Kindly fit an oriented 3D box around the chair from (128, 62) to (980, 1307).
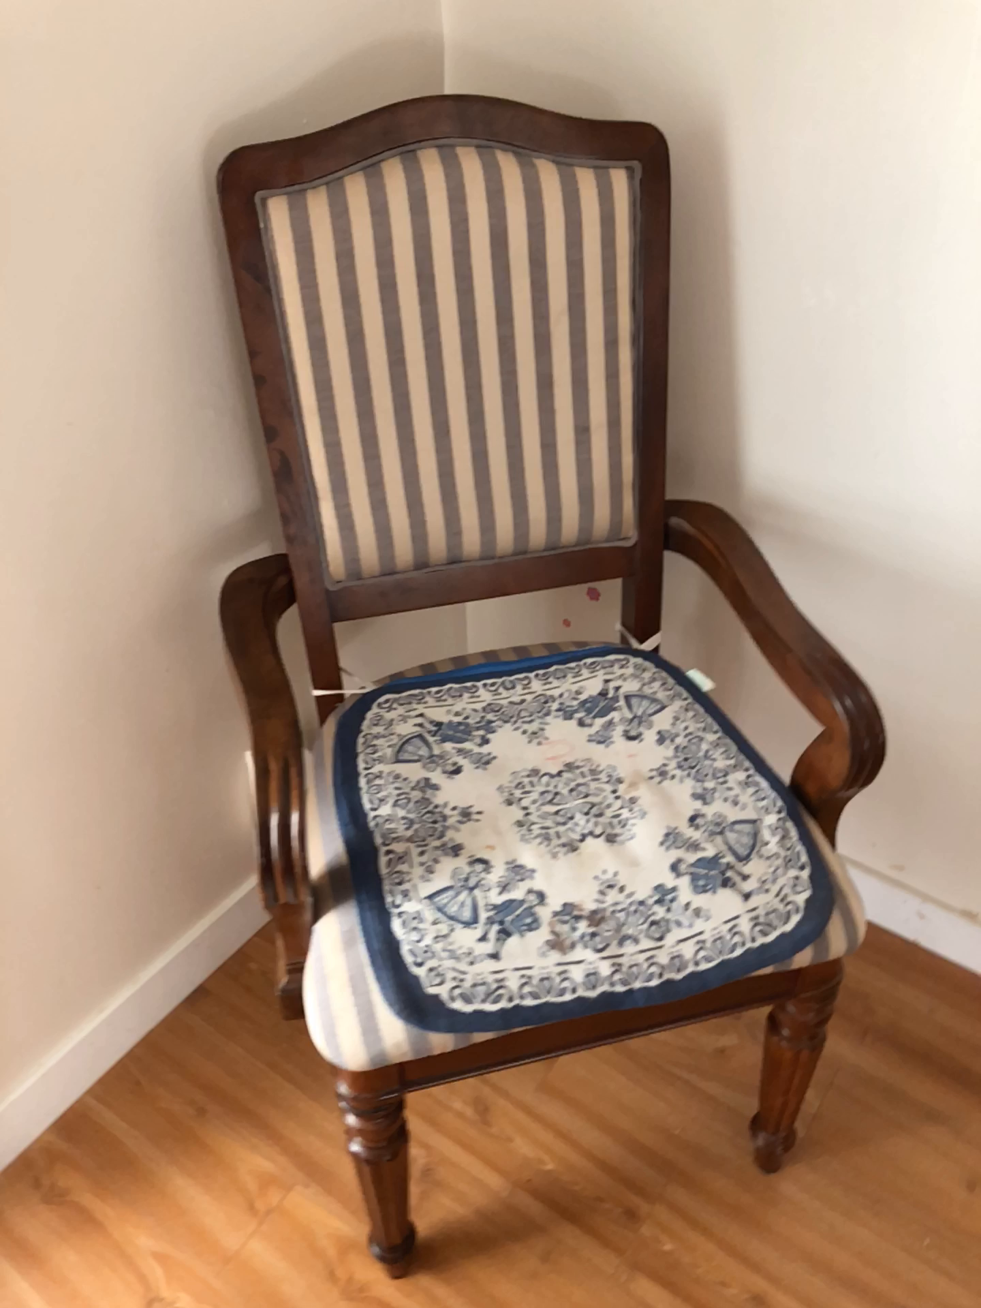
[{"bbox_3d":[0.040,0.067,1.068,0.530,1.043,0.584,-11,39,-12],"label":"chair"}]
